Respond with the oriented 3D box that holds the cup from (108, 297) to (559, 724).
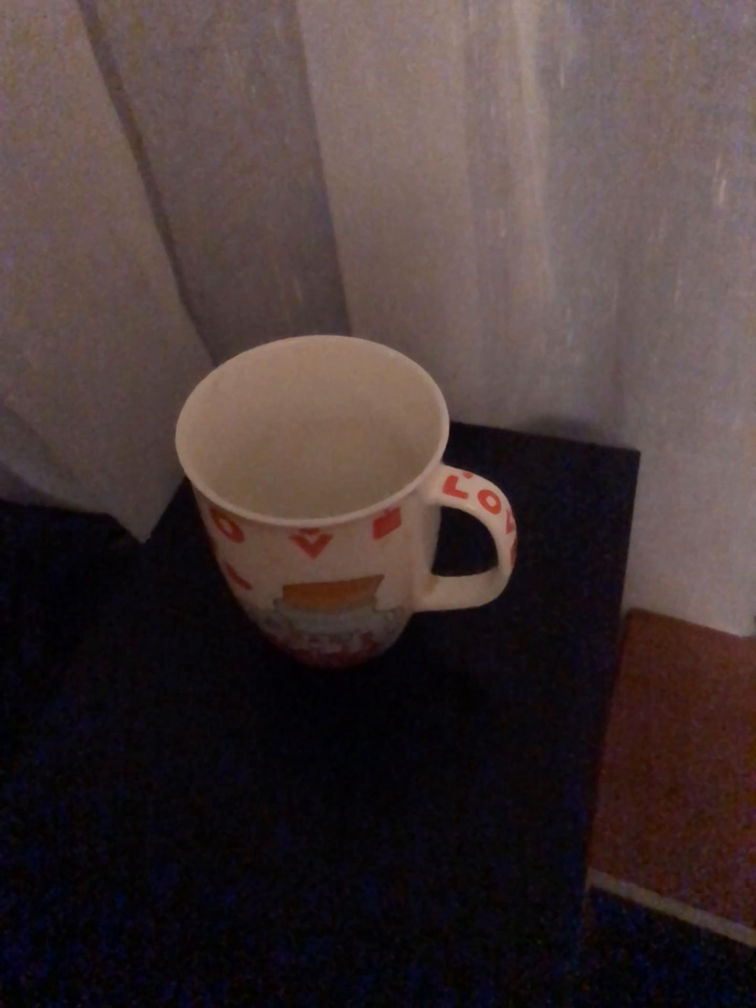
[{"bbox_3d":[-0.006,0.002,0.279,0.111,0.098,0.079,10,50,14],"label":"cup"}]
